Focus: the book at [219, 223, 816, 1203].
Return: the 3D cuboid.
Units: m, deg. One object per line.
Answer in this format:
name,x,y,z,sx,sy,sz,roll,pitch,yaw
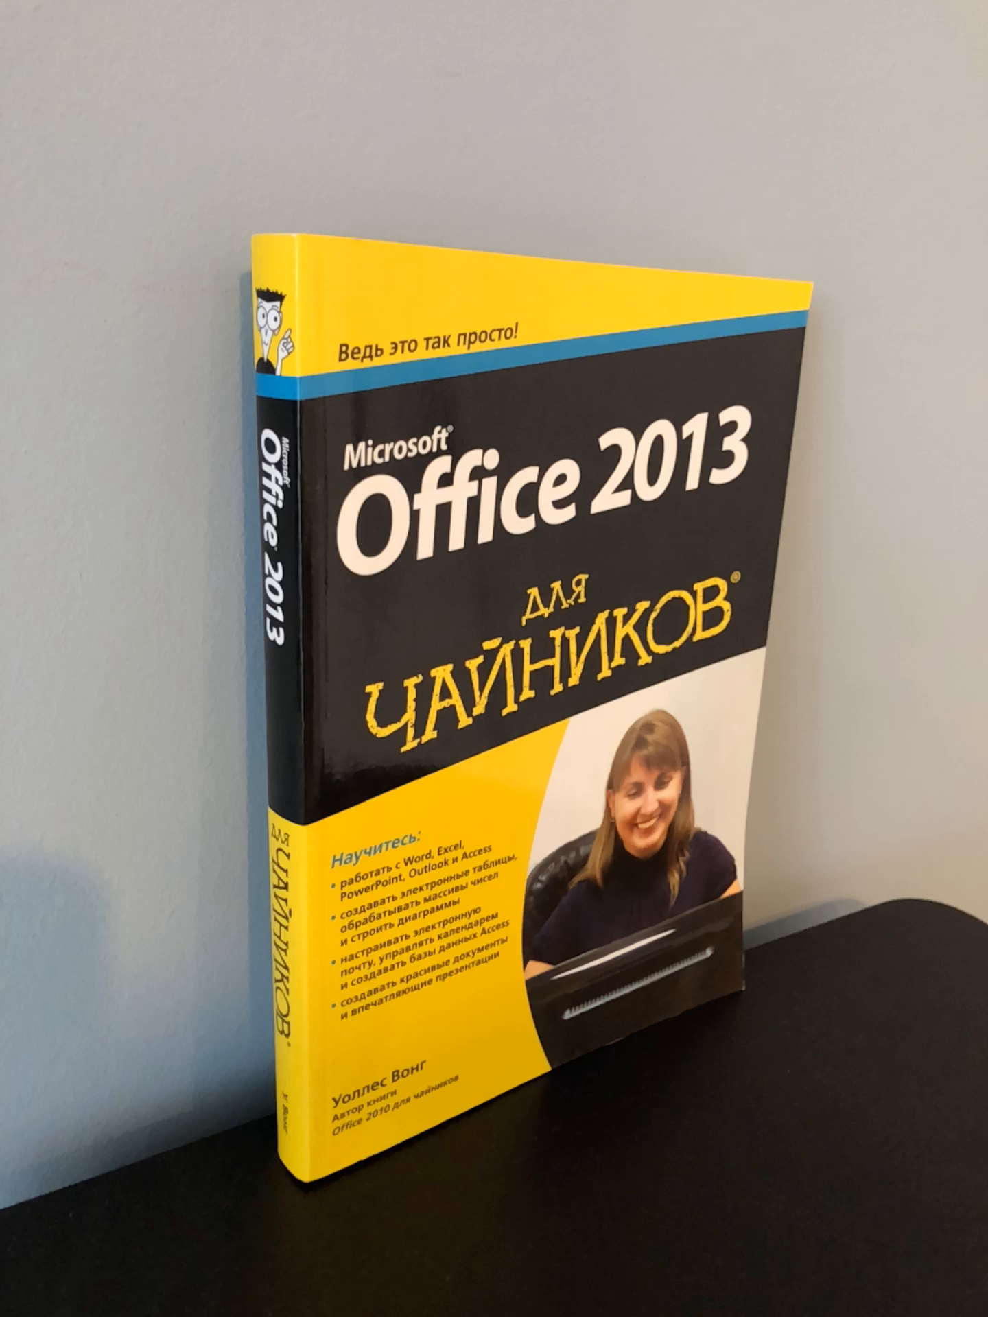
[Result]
book,0.011,0.011,0.306,0.165,0.233,0.031,-10,20,-36
